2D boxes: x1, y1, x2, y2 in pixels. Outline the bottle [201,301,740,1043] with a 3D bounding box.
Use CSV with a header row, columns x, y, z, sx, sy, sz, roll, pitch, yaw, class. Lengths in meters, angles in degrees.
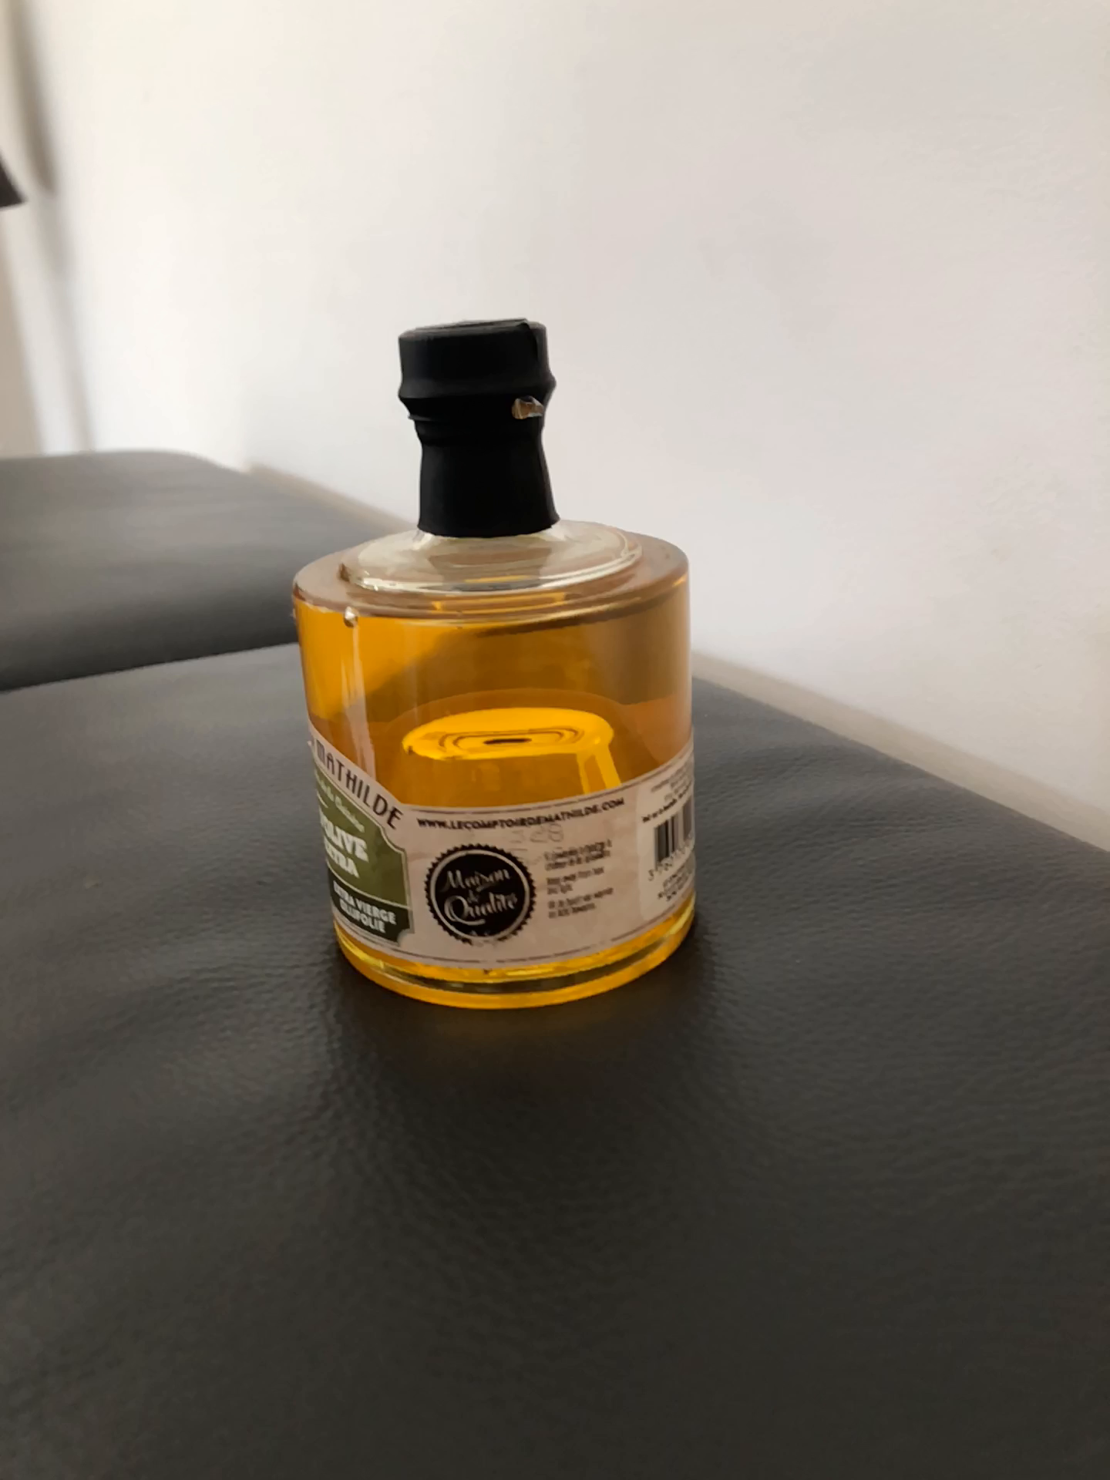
x,y,z,sx,sy,sz,roll,pitch,yaw,class
-0.021,-0.023,0.265,0.090,0.129,0.090,-2,21,1,bottle
